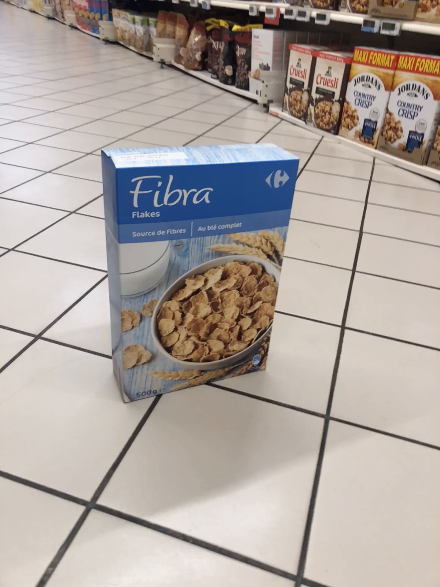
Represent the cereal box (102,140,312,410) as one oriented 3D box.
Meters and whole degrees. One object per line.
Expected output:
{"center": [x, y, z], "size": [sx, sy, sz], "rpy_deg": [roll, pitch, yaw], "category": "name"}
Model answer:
{"center": [-0.022, -0.019, 0.559], "size": [0.201, 0.288, 0.070], "rpy_deg": [-9, 33, -22], "category": "cereal box"}
